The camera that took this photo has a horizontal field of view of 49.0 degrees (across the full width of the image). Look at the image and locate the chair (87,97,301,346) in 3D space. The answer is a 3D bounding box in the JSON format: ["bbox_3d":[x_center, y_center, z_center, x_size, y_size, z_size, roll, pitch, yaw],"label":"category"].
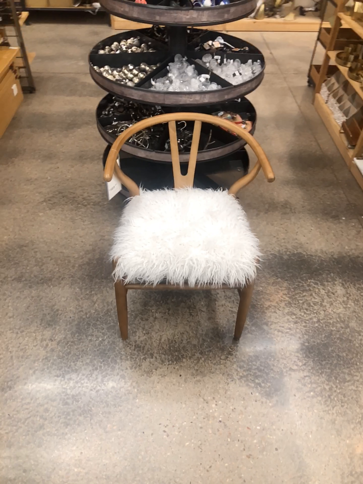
[{"bbox_3d":[0.034,-0.056,1.481,0.557,0.732,0.531,3,44,1],"label":"chair"}]
